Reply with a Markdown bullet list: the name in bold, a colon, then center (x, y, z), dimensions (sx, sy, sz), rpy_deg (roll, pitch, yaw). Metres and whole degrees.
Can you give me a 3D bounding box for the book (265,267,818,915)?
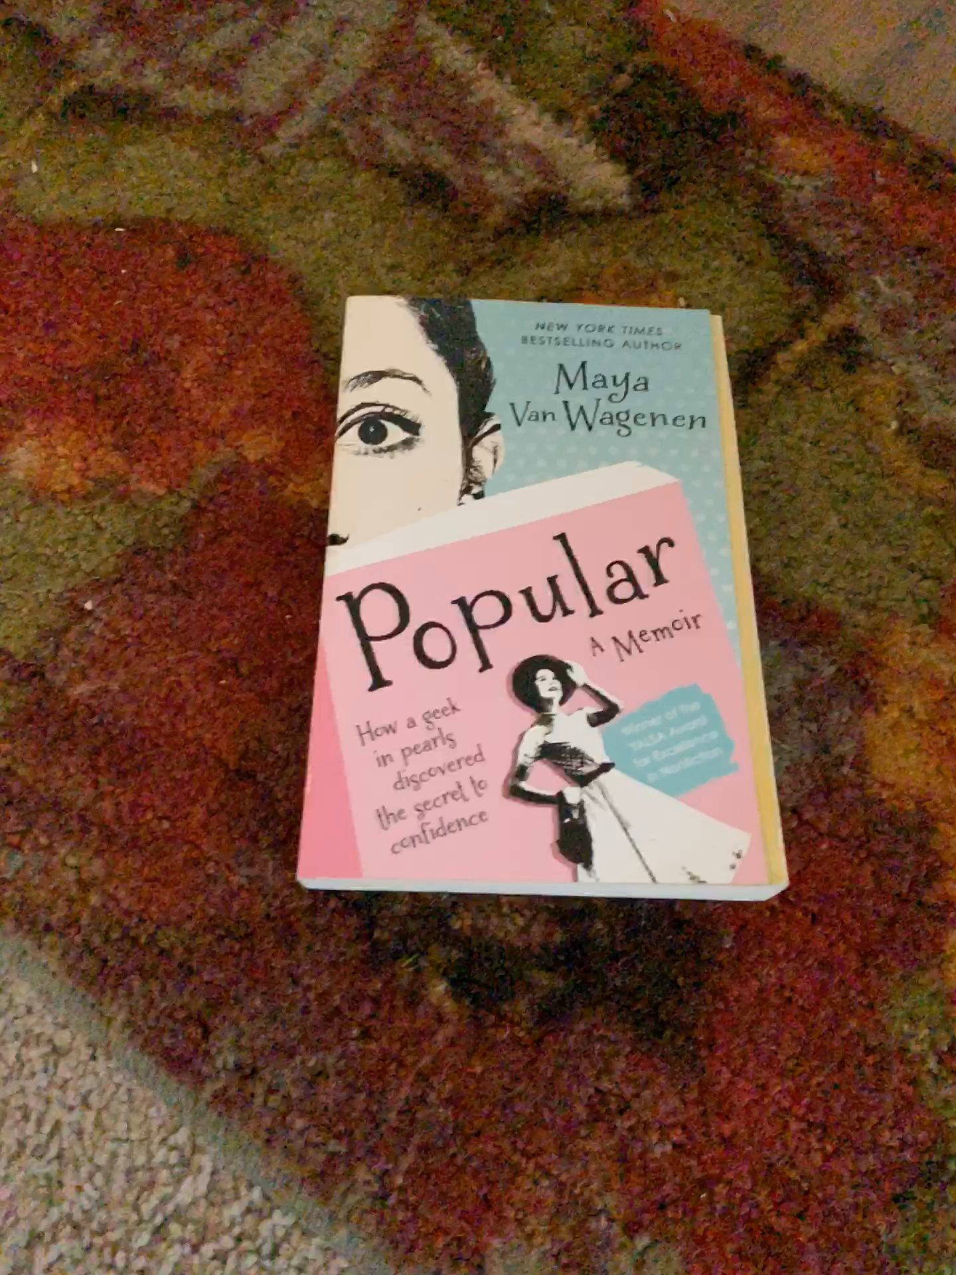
- **book**: center (0.018, -0.025, 0.325), dimensions (0.150, 0.030, 0.220), rpy_deg (1, 66, -2)
